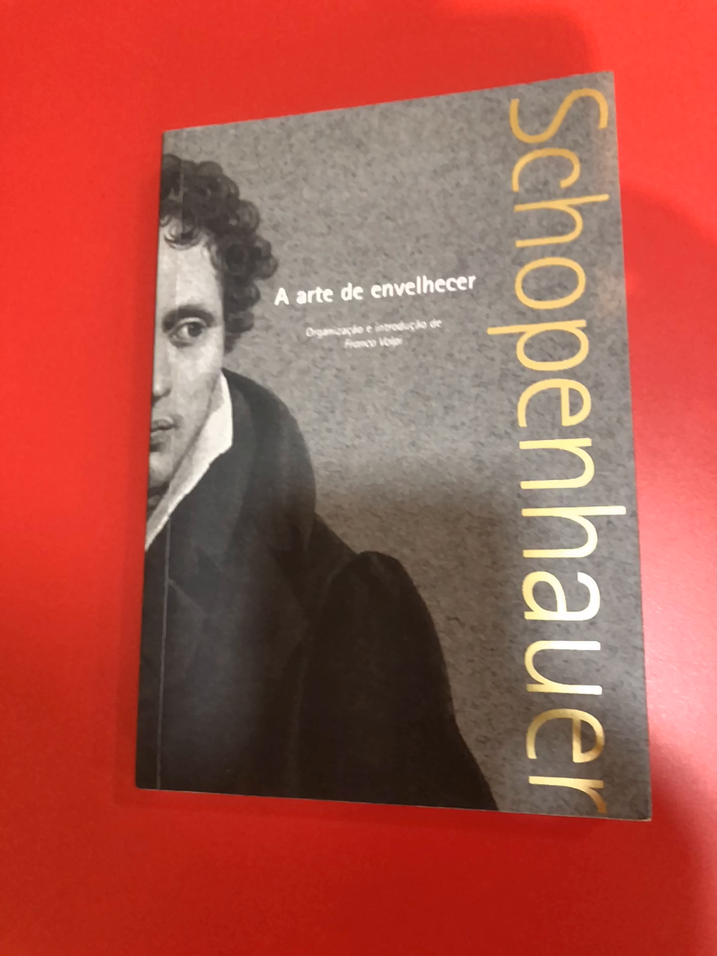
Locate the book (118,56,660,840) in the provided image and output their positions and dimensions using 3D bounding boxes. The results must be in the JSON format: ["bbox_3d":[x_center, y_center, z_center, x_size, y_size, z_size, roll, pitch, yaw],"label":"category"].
[{"bbox_3d":[0.005,-0.011,0.221,0.137,0.017,0.196,-2,82,13],"label":"book"}]
